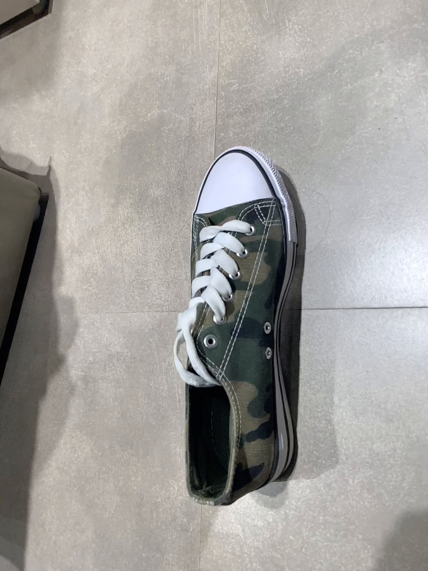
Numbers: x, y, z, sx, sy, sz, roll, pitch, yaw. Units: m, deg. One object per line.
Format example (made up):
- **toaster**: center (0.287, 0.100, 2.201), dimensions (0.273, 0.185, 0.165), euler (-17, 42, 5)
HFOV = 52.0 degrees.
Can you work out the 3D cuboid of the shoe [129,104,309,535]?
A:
- **shoe**: center (0.004, 0.020, 0.329), dimensions (0.099, 0.079, 0.266), euler (-6, 79, 32)
